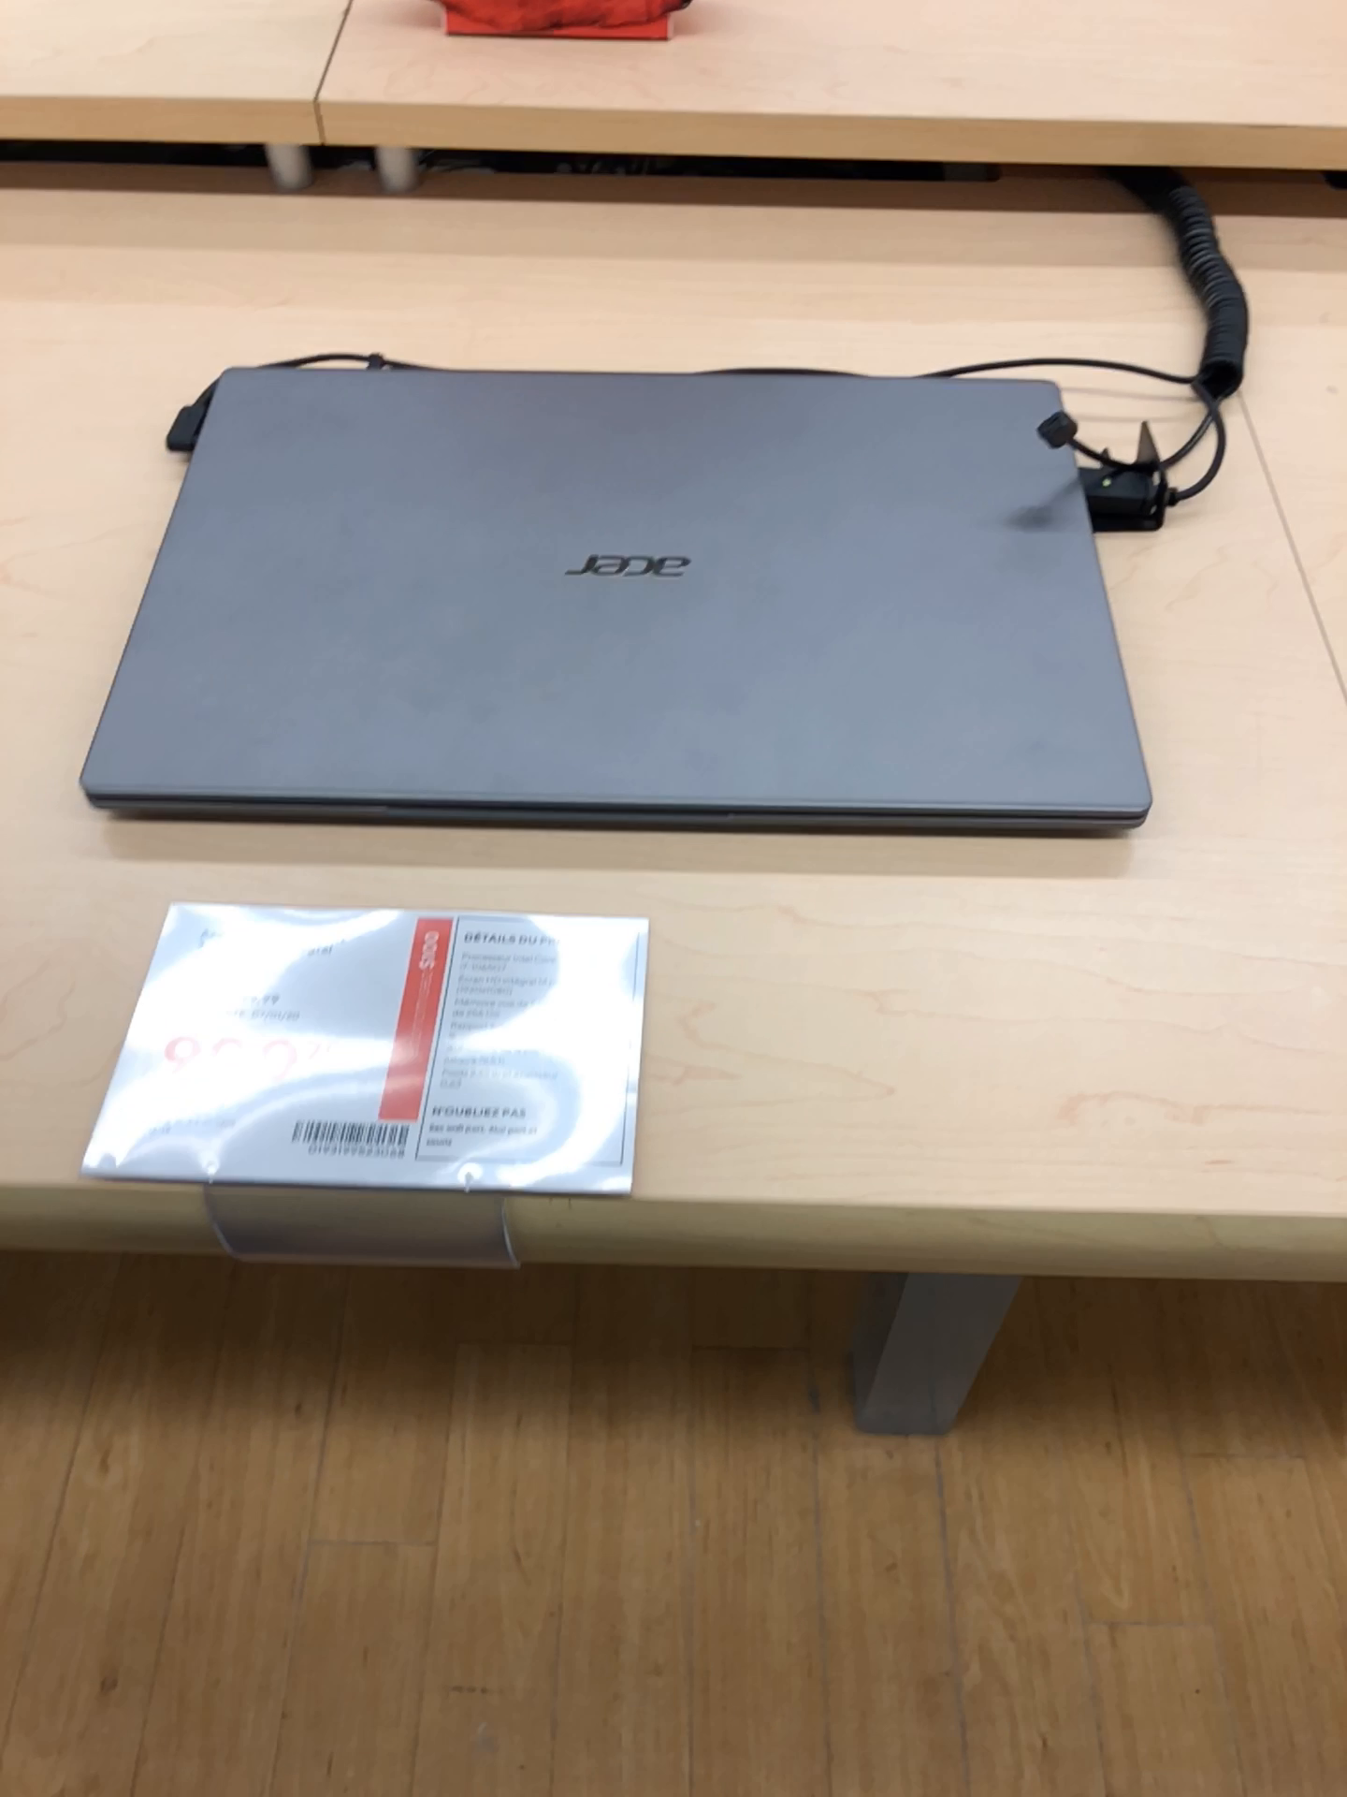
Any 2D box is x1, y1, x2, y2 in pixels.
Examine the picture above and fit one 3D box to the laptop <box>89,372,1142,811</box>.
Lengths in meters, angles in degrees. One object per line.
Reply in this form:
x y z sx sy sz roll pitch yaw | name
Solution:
-0.015 -0.111 0.493 0.306 0.001 0.201 2 53 0 | laptop
